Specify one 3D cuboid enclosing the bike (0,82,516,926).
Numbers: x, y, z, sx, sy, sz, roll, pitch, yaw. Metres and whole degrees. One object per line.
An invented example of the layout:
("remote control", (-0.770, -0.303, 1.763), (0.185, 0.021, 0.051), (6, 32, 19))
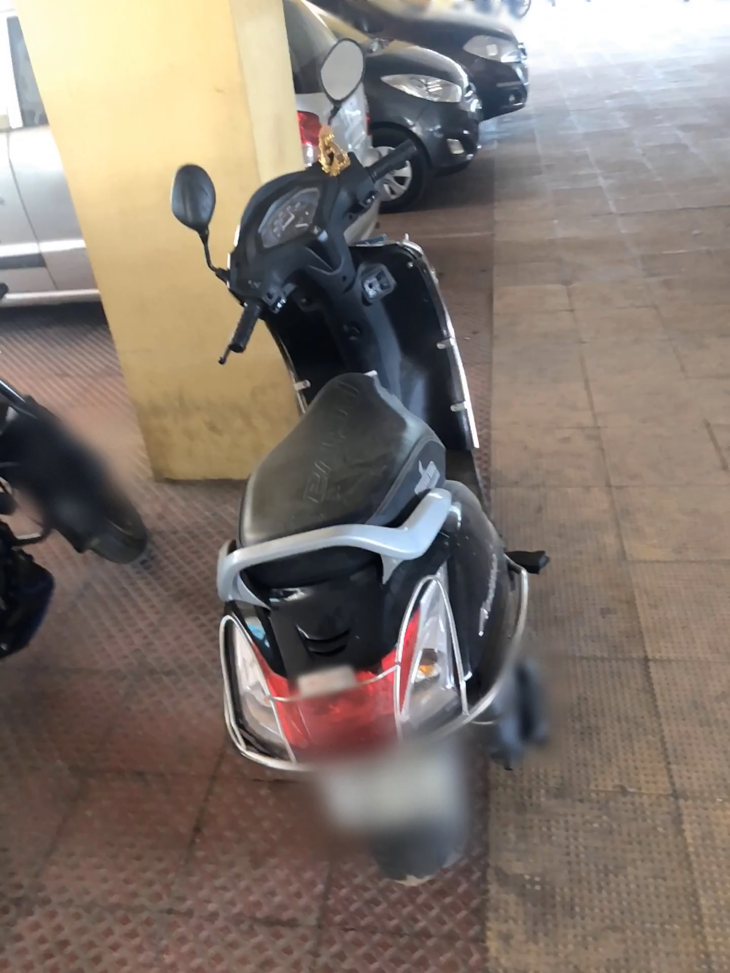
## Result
("bike", (-0.165, -0.094, 1.815), (0.607, 1.172, 1.448), (-8, 35, -2))
